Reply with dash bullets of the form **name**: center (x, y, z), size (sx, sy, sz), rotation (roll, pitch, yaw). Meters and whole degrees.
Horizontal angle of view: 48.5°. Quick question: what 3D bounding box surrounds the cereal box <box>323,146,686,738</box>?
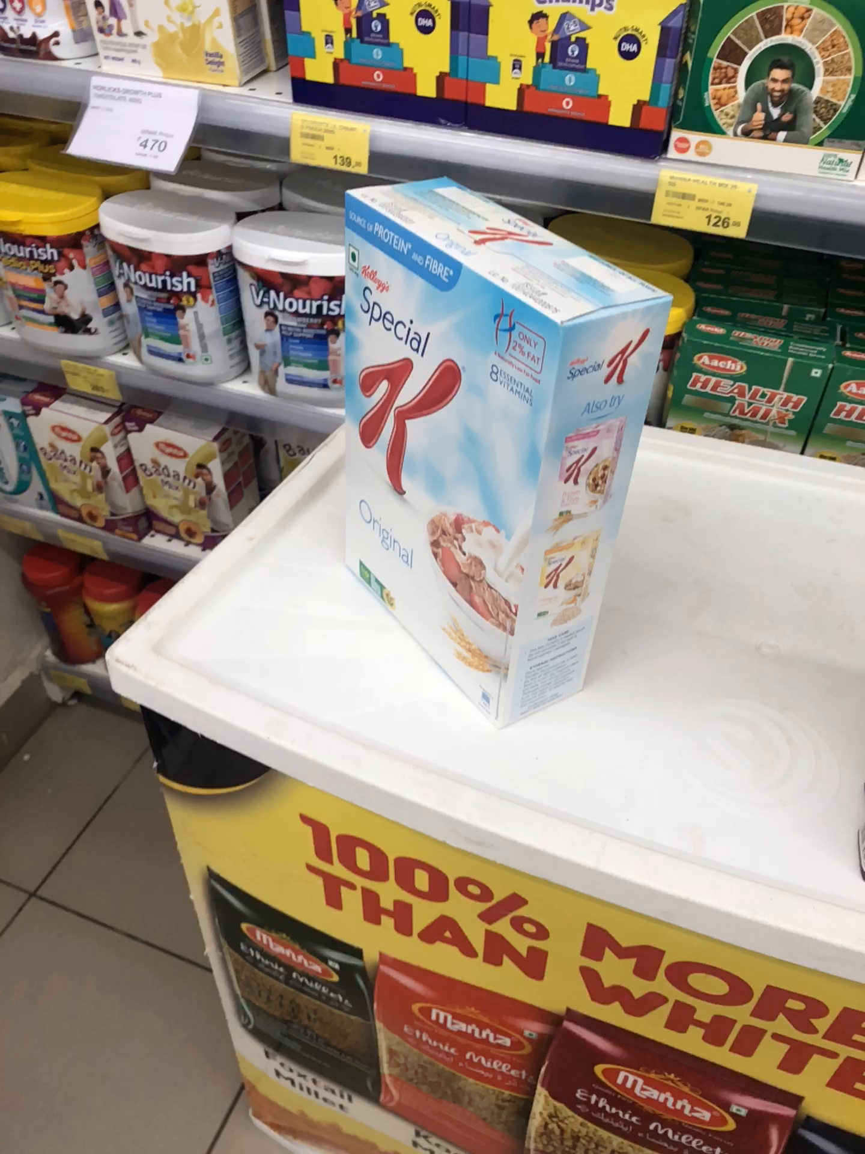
- **cereal box**: center (0.019, -0.072, 0.534), size (0.070, 0.259, 0.191), rotation (-21, 46, -27)
